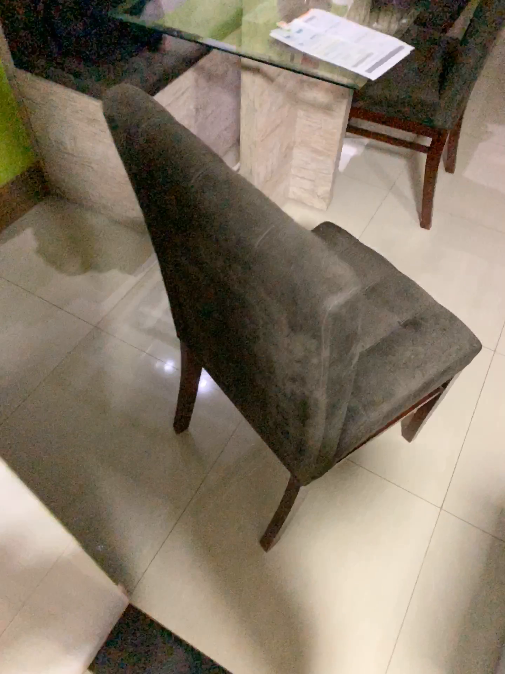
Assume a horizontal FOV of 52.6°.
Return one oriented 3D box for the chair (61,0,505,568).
[{"bbox_3d":[0.120,-0.048,1.063,0.572,0.973,0.542,-31,61,-22],"label":"chair"}]
